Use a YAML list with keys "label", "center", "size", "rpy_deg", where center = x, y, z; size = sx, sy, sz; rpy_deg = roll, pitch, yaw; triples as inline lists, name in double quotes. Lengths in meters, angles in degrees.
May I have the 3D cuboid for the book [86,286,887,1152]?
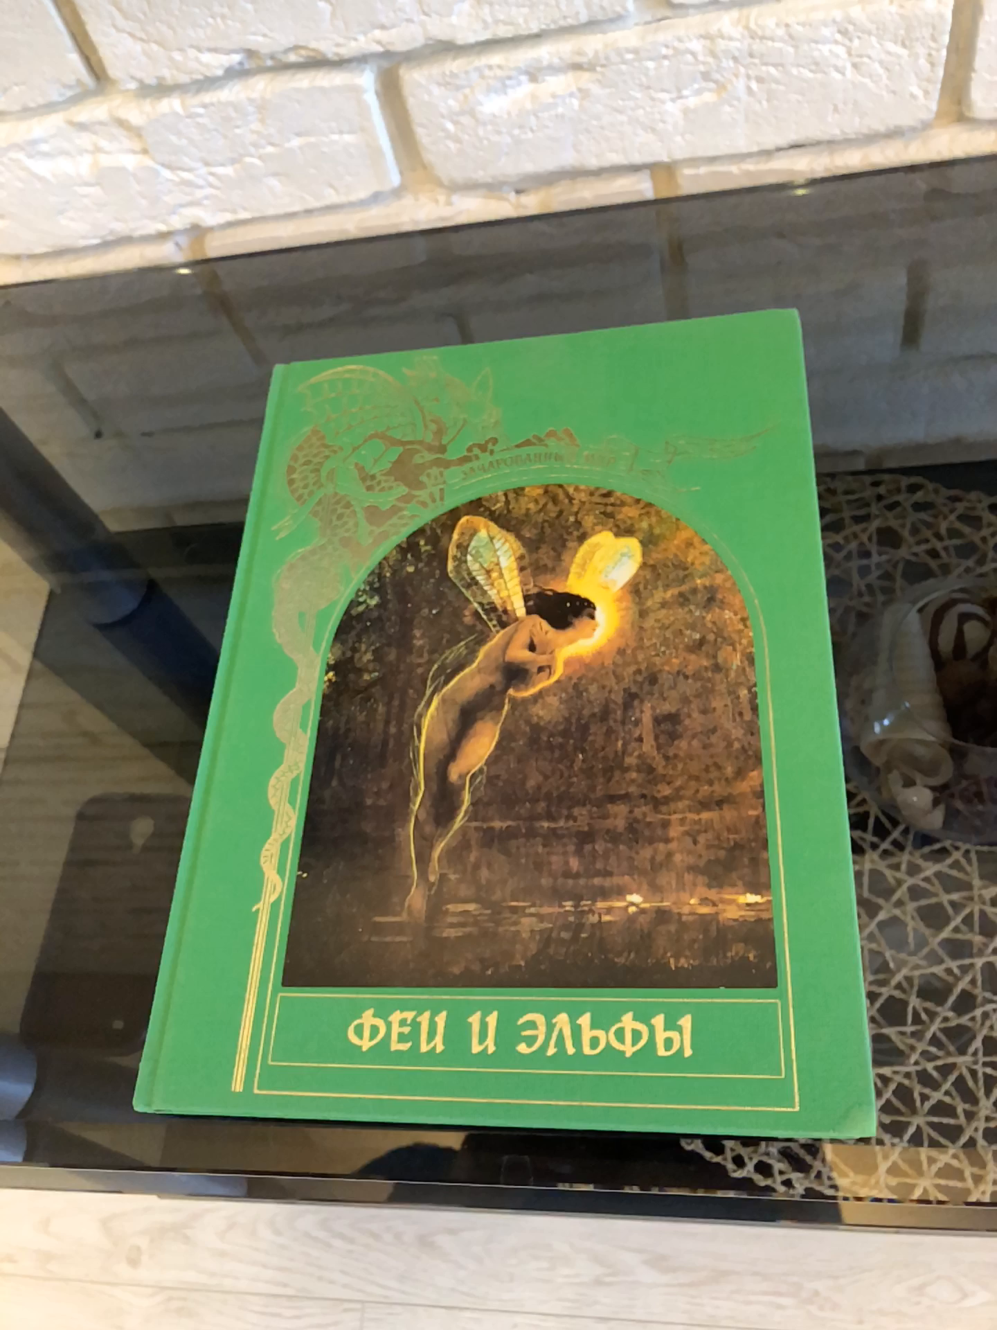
- label: "book"
  center: [0.001, -0.001, 0.373]
  size: [0.217, 0.030, 0.291]
  rpy_deg: [-2, 61, 12]
